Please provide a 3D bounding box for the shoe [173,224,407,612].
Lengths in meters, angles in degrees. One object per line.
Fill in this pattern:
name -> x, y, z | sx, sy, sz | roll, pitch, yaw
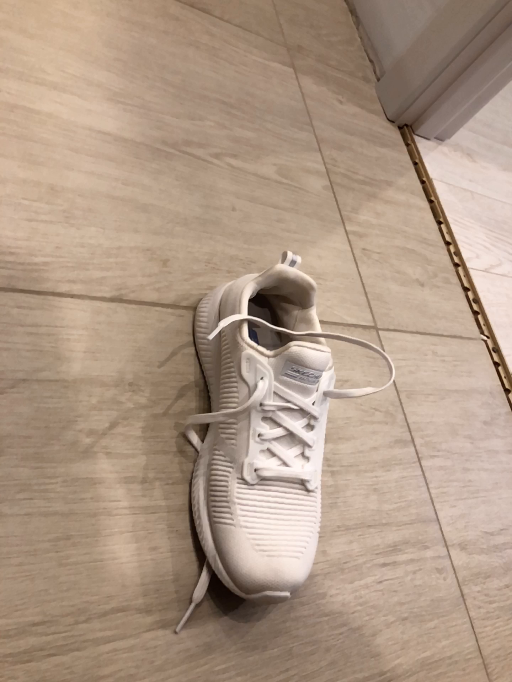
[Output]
shoe -> 0.011, 0.057, 0.393 | 0.090, 0.119, 0.231 | 13, 58, -28
